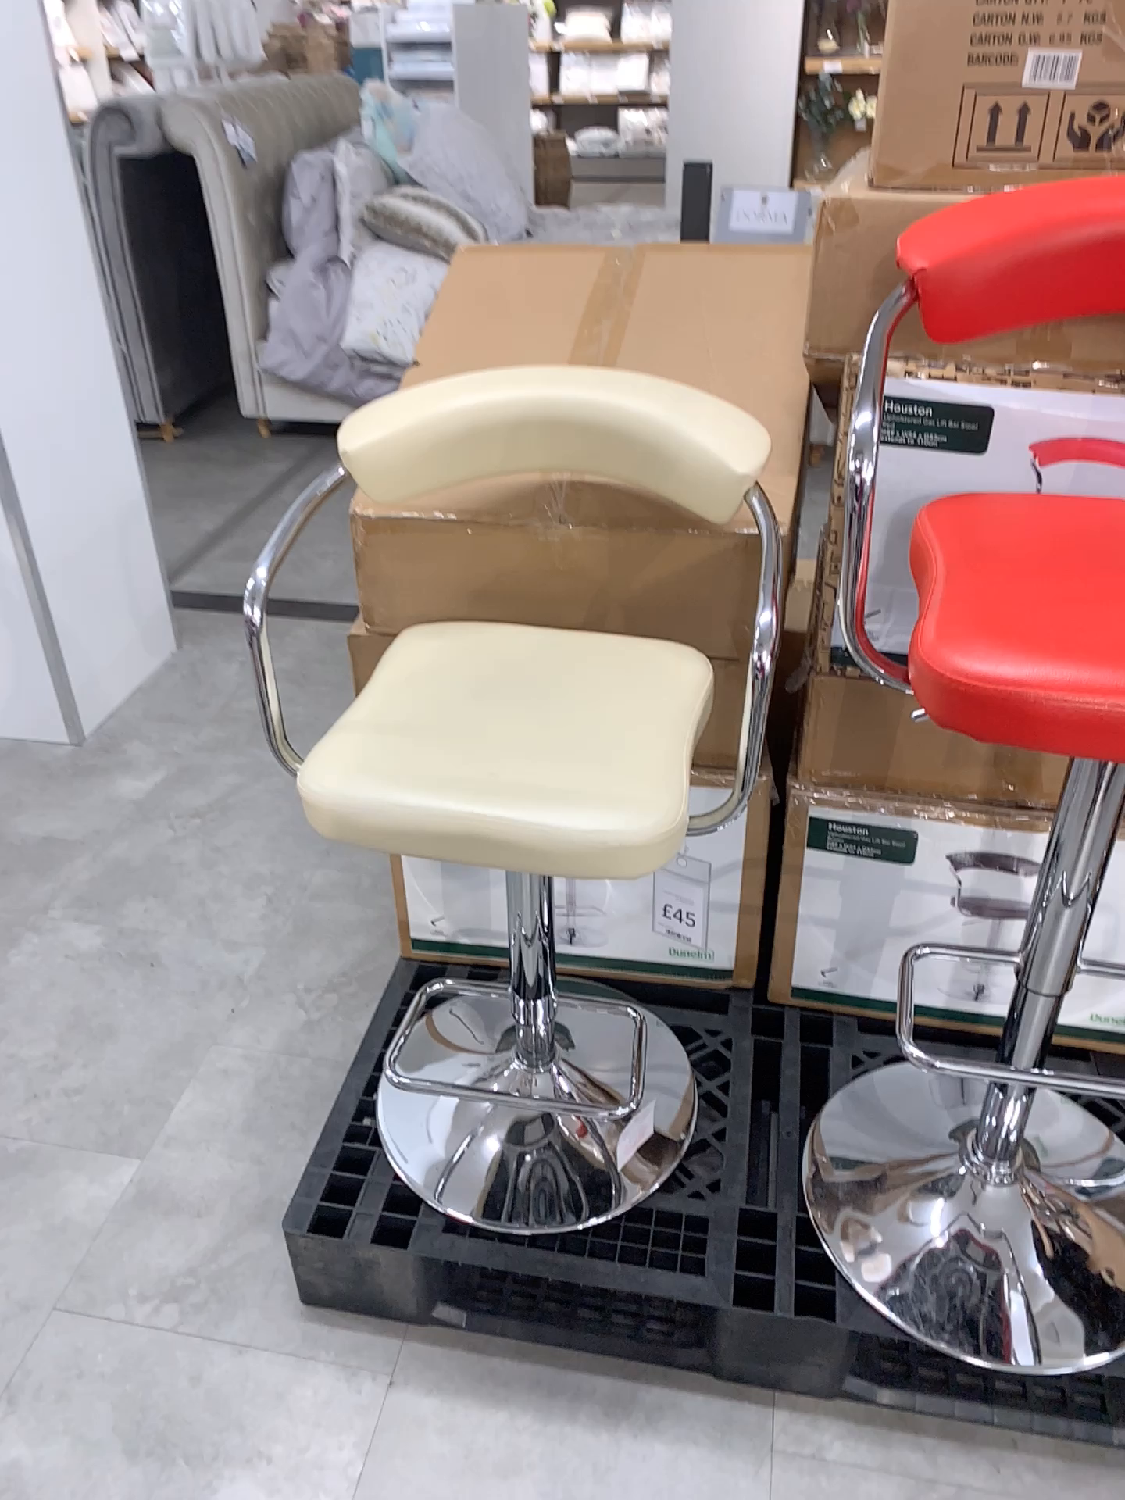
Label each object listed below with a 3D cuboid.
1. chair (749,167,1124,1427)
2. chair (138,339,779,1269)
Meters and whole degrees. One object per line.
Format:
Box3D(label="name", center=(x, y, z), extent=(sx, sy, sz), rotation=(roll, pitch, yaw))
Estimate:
Box3D(label="chair", center=(0.474, 0.055, 1.112), extent=(0.474, 1.059, 0.524), rotation=(5, 32, 10))
Box3D(label="chair", center=(-0.042, 0.047, 1.268), extent=(0.464, 0.841, 0.504), rotation=(5, 32, 10))
